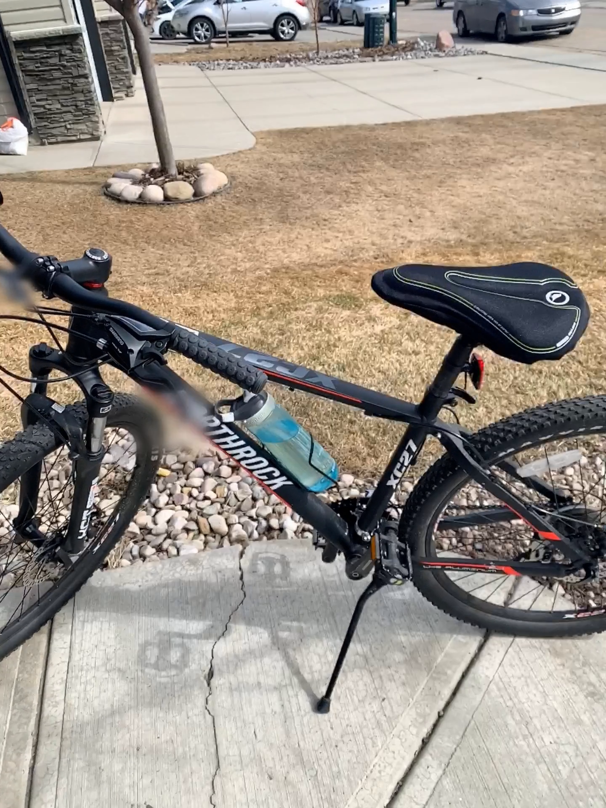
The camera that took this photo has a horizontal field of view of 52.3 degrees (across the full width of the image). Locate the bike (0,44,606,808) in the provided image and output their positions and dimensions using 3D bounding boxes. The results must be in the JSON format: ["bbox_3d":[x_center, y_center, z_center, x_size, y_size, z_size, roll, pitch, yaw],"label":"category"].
[{"bbox_3d":[0.013,0.172,0.961,1.478,1.004,0.603,-8,33,2],"label":"bike"}]
